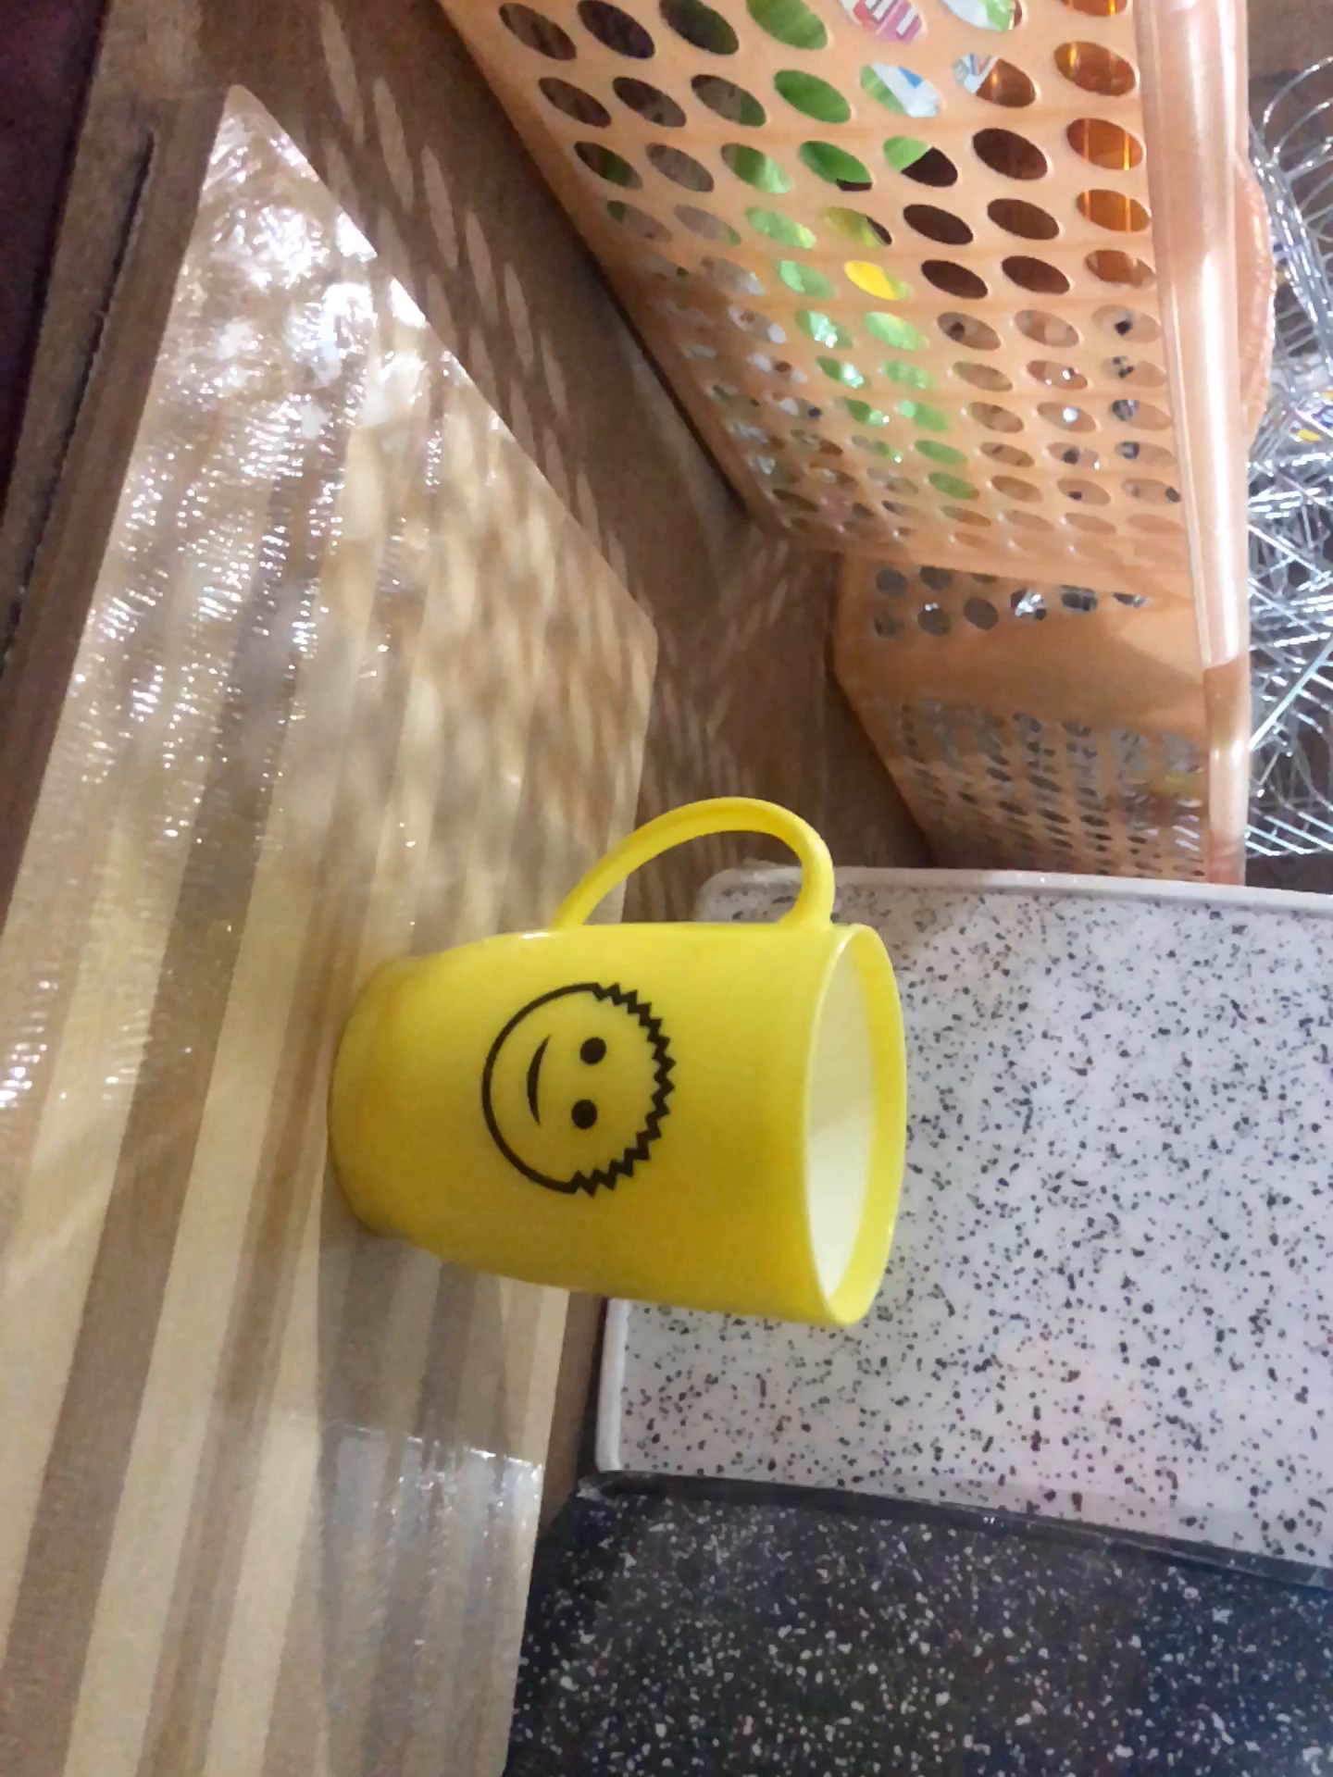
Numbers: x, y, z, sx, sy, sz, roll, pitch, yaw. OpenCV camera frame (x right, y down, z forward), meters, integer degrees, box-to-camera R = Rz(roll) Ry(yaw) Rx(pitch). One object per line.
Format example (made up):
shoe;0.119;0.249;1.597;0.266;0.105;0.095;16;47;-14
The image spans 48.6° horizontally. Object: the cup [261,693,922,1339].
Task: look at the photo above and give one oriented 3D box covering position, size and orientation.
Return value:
cup;-0.008;0.030;0.302;0.081;0.099;0.110;38;54;-63
